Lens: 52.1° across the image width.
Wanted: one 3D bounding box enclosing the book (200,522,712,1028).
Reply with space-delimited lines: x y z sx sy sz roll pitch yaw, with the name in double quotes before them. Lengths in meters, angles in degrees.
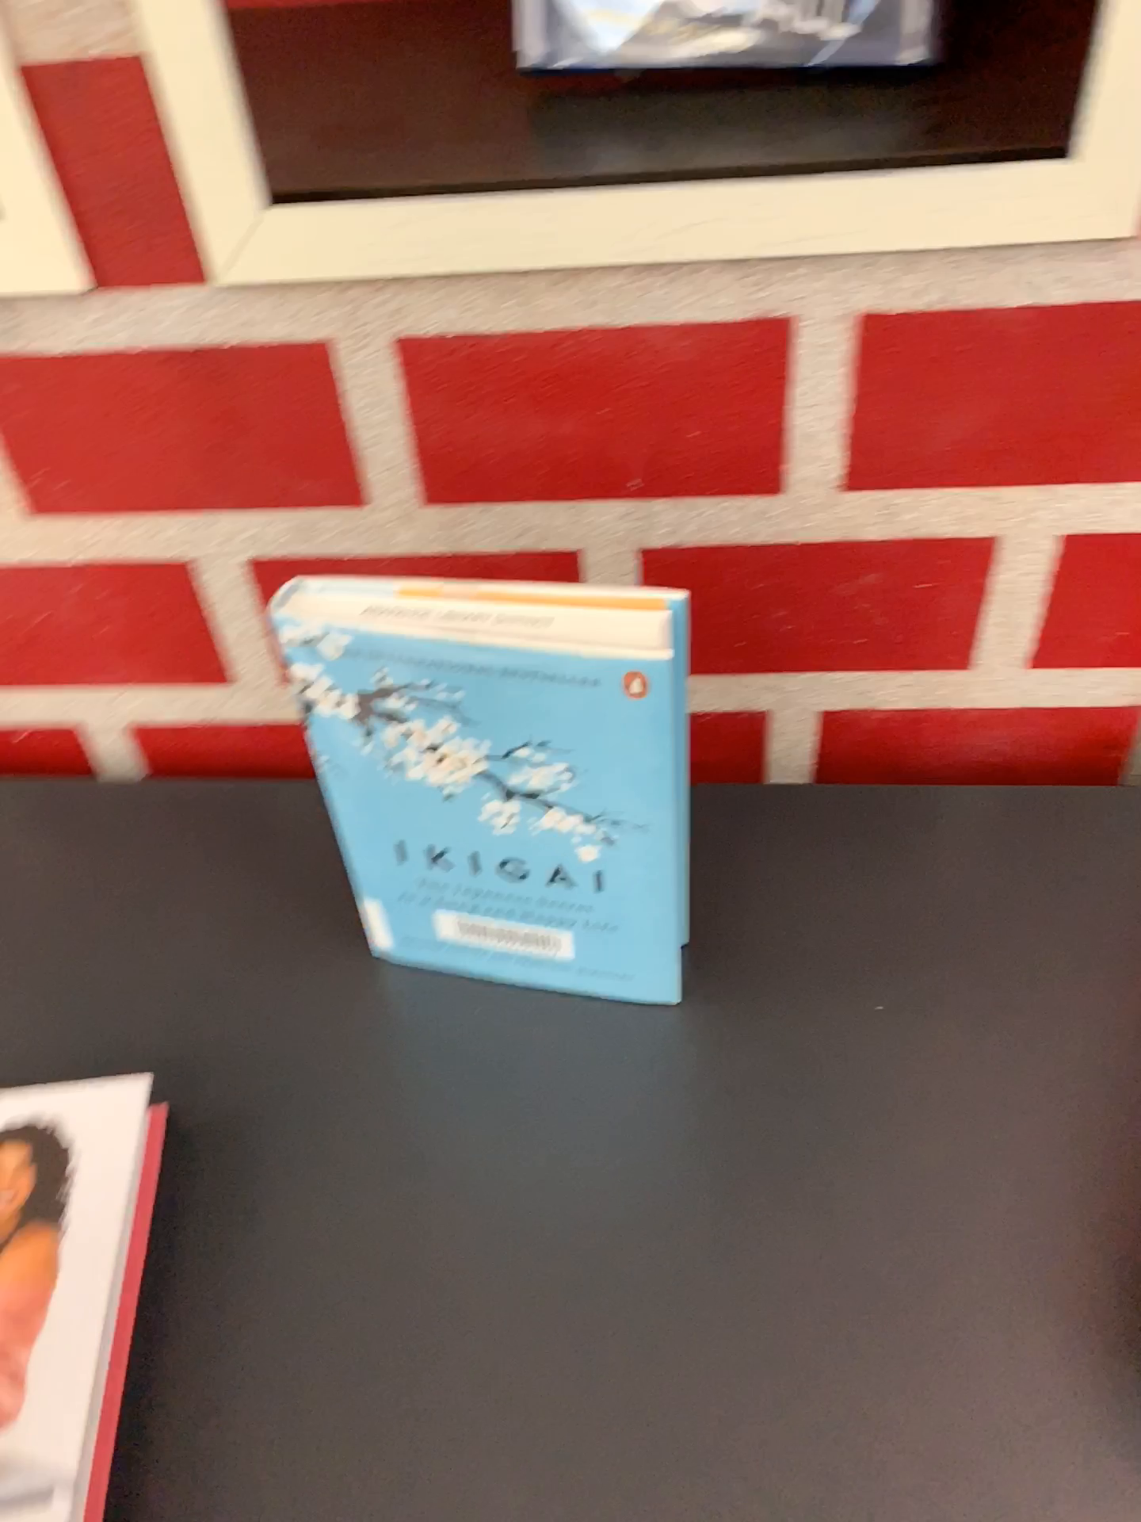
"book" -0.027 0.014 0.423 0.150 0.199 0.040 7 48 13
